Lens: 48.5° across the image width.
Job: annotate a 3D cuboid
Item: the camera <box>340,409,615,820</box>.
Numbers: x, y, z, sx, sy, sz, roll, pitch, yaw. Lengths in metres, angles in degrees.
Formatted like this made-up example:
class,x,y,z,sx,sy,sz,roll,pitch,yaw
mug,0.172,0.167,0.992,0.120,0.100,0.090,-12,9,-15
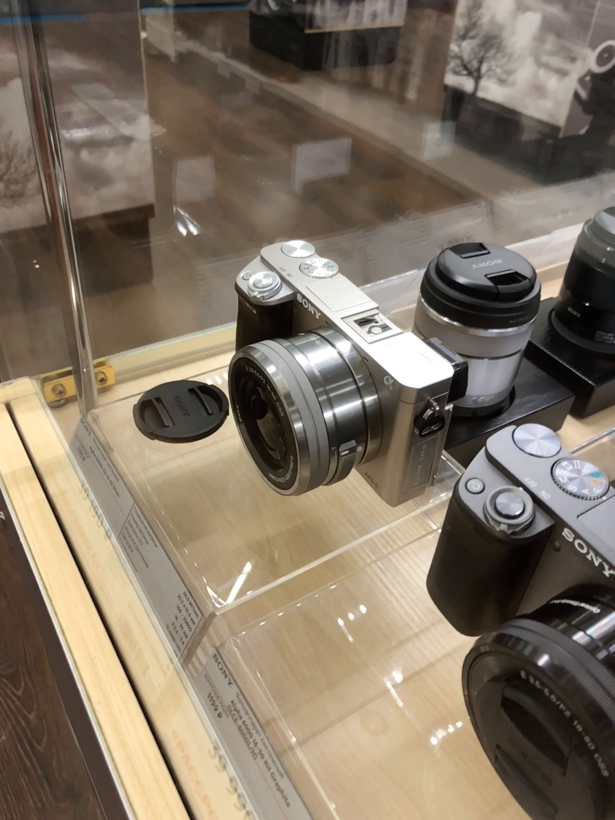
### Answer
class,x,y,z,sx,sy,sz,roll,pitch,yaw
camera,0.079,0.071,0.206,0.076,0.061,0.128,-19,45,-25

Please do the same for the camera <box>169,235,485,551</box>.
class,x,y,z,sx,sy,sz,roll,pitch,yaw
camera,0.001,-0.016,0.300,0.076,0.061,0.124,-19,45,-25
